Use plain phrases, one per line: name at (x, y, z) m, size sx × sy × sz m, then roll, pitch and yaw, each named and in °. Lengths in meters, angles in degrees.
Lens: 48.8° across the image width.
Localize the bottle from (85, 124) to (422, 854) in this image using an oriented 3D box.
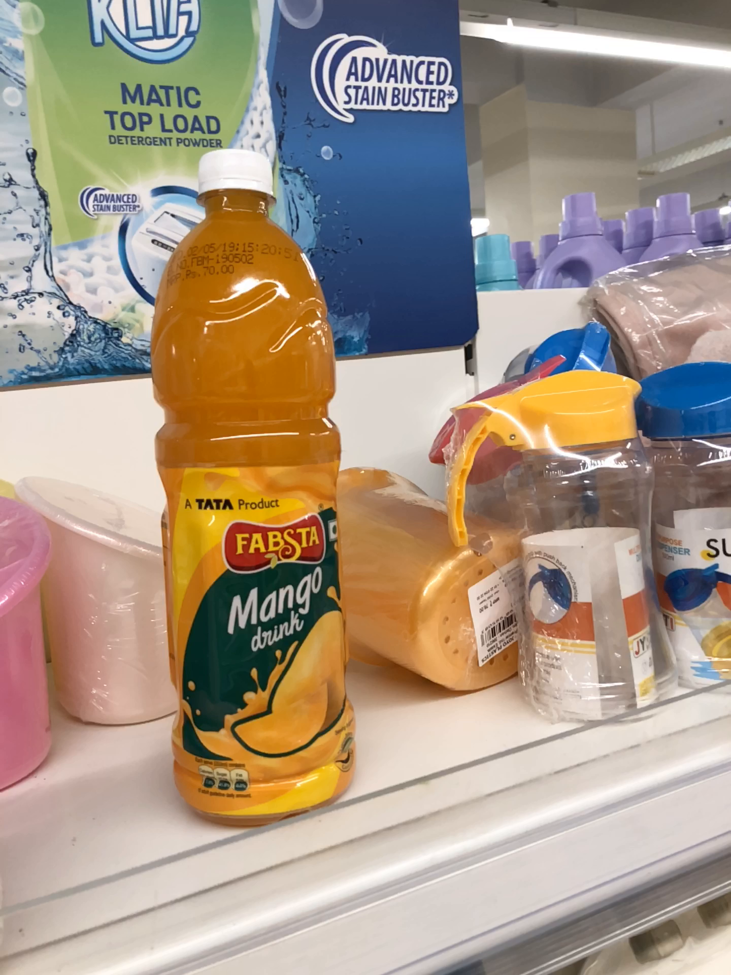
bottle at (-0.047, -0.002, 0.340) m, size 0.090 × 0.260 × 0.080 m, roll -9°, pitch 8°, yaw -28°
